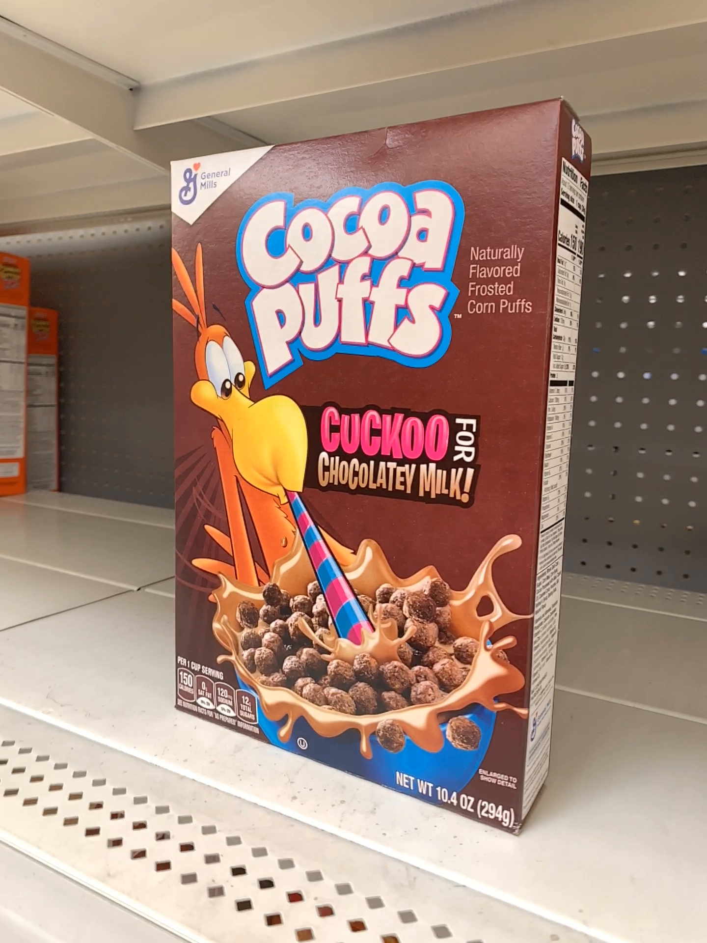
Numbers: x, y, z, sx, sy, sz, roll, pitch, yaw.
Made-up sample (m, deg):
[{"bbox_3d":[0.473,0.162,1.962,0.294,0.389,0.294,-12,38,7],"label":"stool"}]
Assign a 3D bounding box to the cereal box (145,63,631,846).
[{"bbox_3d":[0.001,-0.009,0.315,0.200,0.259,0.050,6,9,32],"label":"cereal box"}]
